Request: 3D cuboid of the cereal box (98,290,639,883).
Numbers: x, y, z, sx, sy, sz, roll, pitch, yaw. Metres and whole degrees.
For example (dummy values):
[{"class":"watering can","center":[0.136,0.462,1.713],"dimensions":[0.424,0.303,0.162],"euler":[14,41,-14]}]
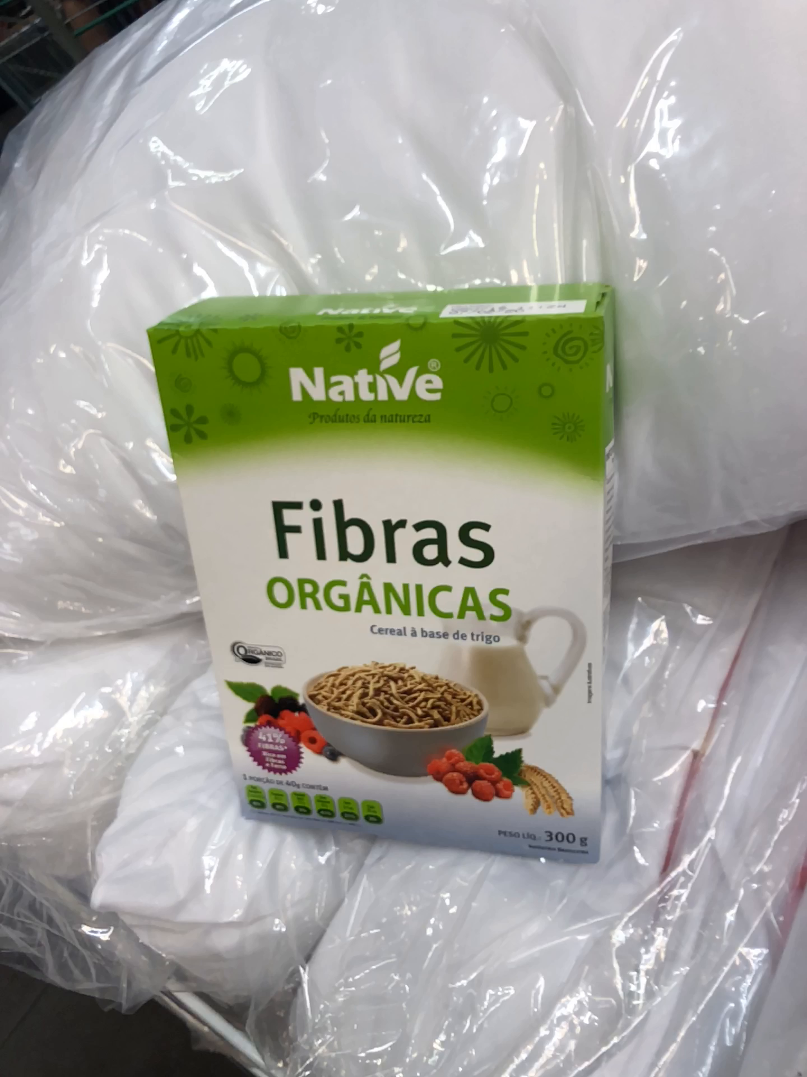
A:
[{"class":"cereal box","center":[-0.004,0.022,0.378],"dimensions":[0.190,0.229,0.060],"euler":[3,26,17]}]
